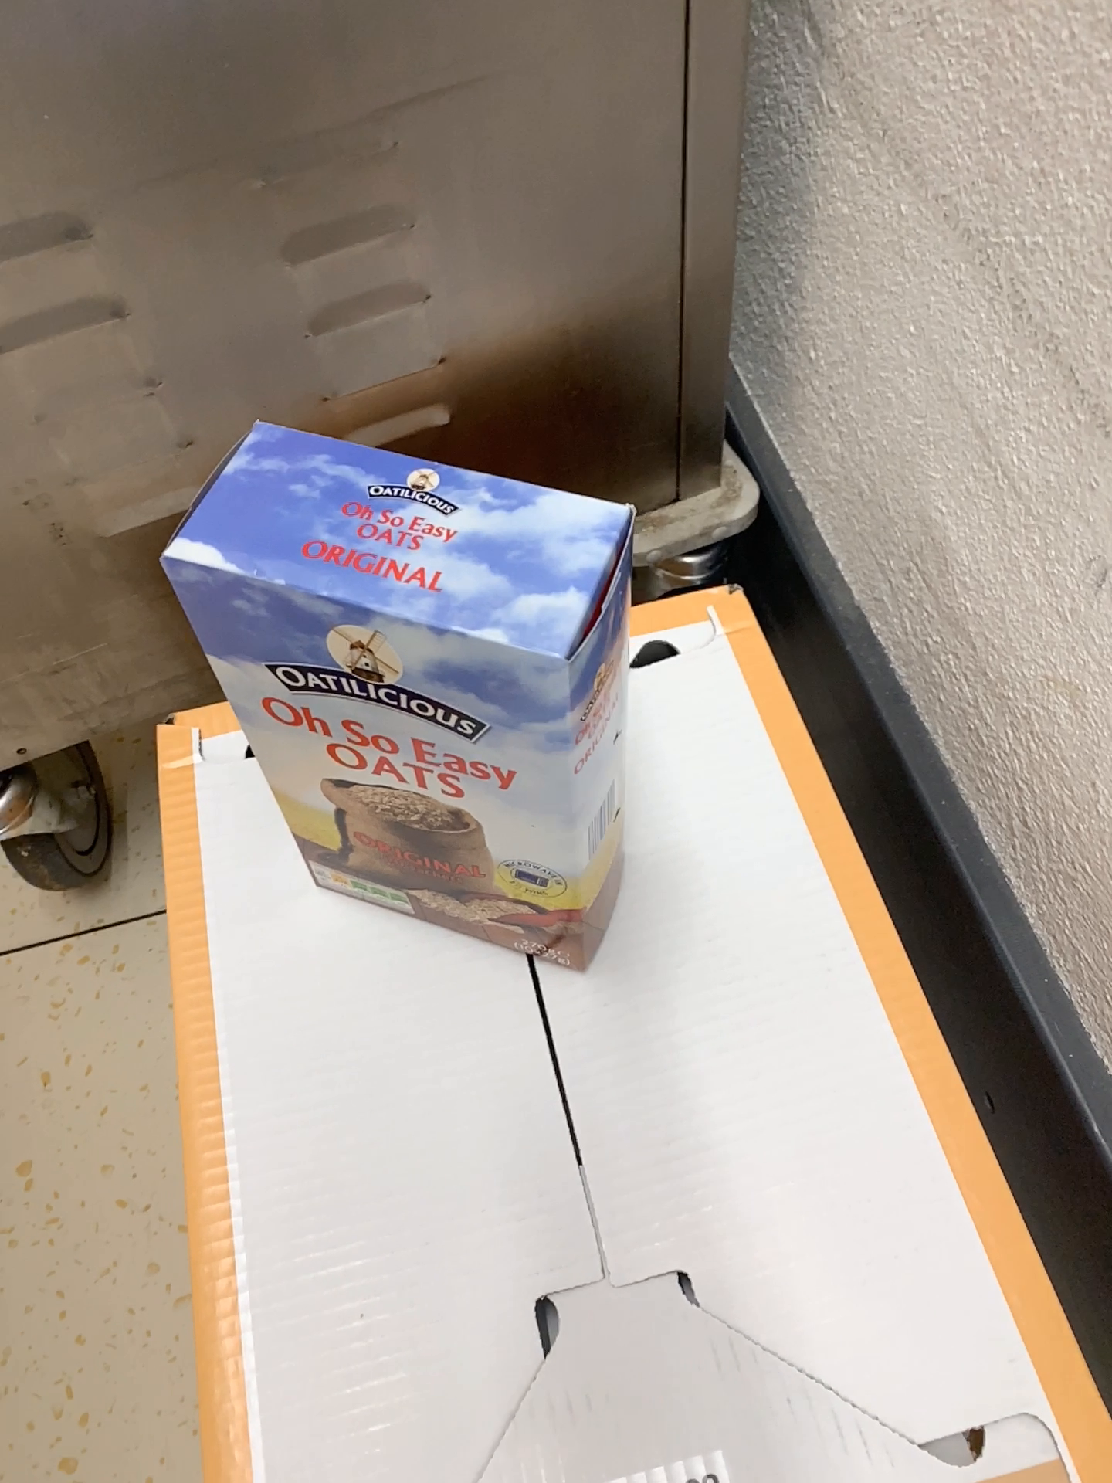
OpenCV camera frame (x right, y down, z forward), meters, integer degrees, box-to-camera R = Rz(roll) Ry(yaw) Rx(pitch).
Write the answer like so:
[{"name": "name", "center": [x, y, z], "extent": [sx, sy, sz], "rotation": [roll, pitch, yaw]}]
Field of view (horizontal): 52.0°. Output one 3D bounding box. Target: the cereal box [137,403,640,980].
[{"name": "cereal box", "center": [-0.041, -0.004, 0.414], "extent": [0.130, 0.218, 0.060], "rotation": [15, 58, 14]}]
